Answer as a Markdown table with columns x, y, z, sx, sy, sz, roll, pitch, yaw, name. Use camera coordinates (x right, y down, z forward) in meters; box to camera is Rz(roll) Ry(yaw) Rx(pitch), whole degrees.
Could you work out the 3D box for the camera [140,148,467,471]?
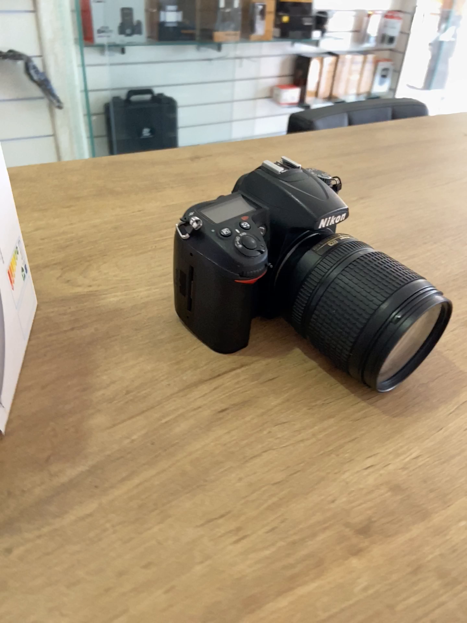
| x | y | z | sx | sy | sz | roll | pitch | yaw | name |
| --- | --- | --- | --- | --- | --- | --- | --- | --- | --- |
| 0.047 | -0.020 | 0.312 | 0.141 | 0.099 | 0.160 | -27 | 47 | -35 | camera |
